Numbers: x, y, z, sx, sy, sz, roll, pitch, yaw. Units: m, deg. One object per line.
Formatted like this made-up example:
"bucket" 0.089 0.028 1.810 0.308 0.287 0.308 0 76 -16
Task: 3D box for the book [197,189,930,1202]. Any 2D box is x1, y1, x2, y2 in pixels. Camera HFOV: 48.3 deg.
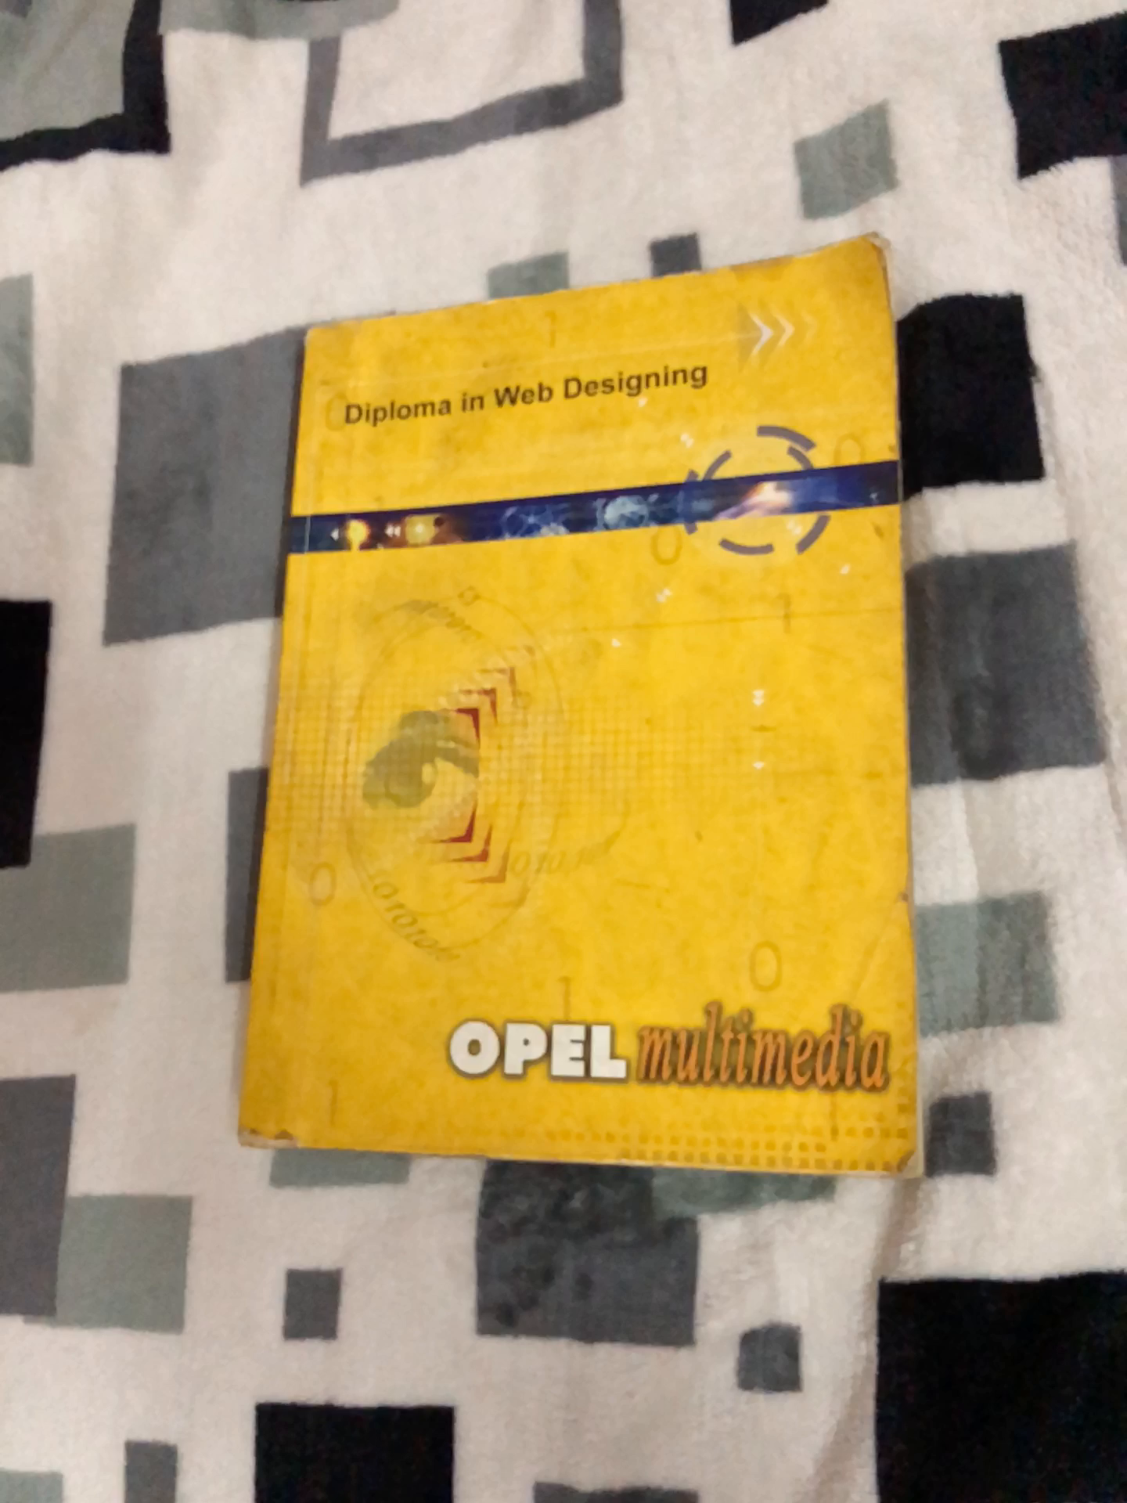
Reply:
"book" 0.006 -0.019 0.434 0.220 0.070 0.310 -2 75 17
